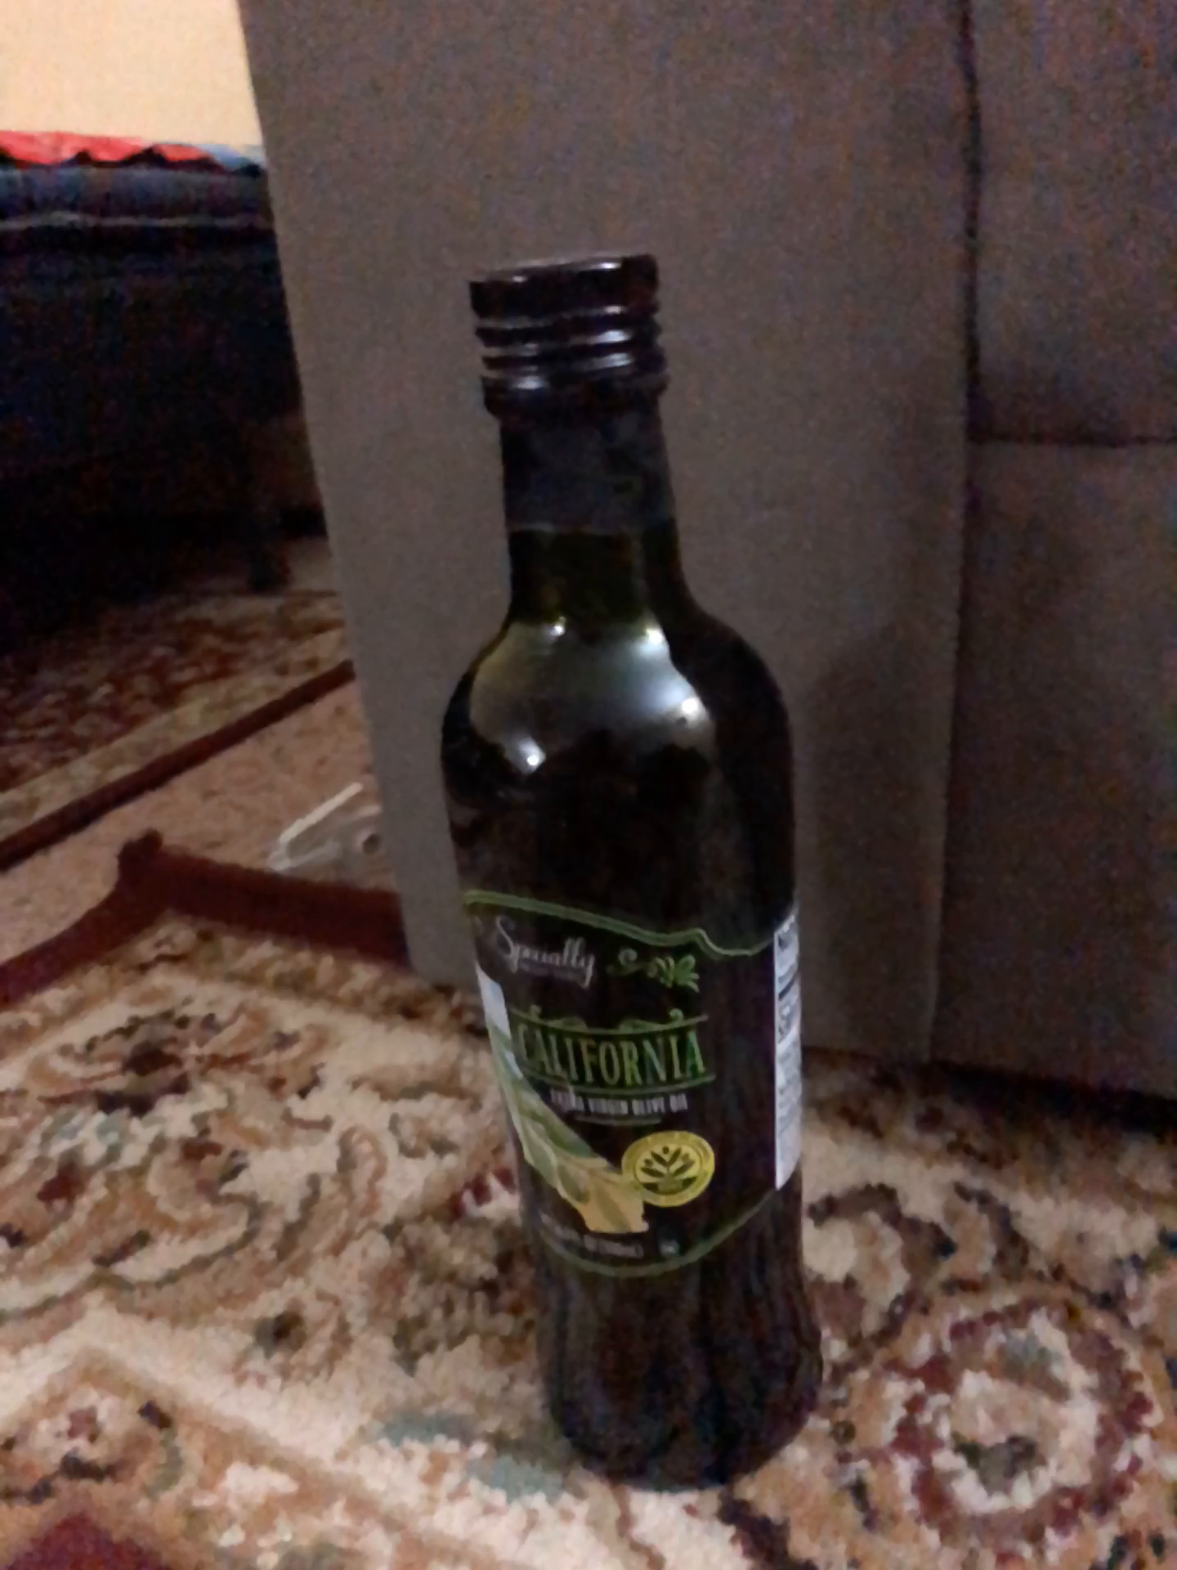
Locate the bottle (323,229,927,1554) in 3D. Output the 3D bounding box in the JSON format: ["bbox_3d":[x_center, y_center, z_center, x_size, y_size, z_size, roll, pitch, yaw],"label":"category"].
[{"bbox_3d":[0.020,0.027,0.280,0.080,0.259,0.070,4,23,28],"label":"bottle"}]
